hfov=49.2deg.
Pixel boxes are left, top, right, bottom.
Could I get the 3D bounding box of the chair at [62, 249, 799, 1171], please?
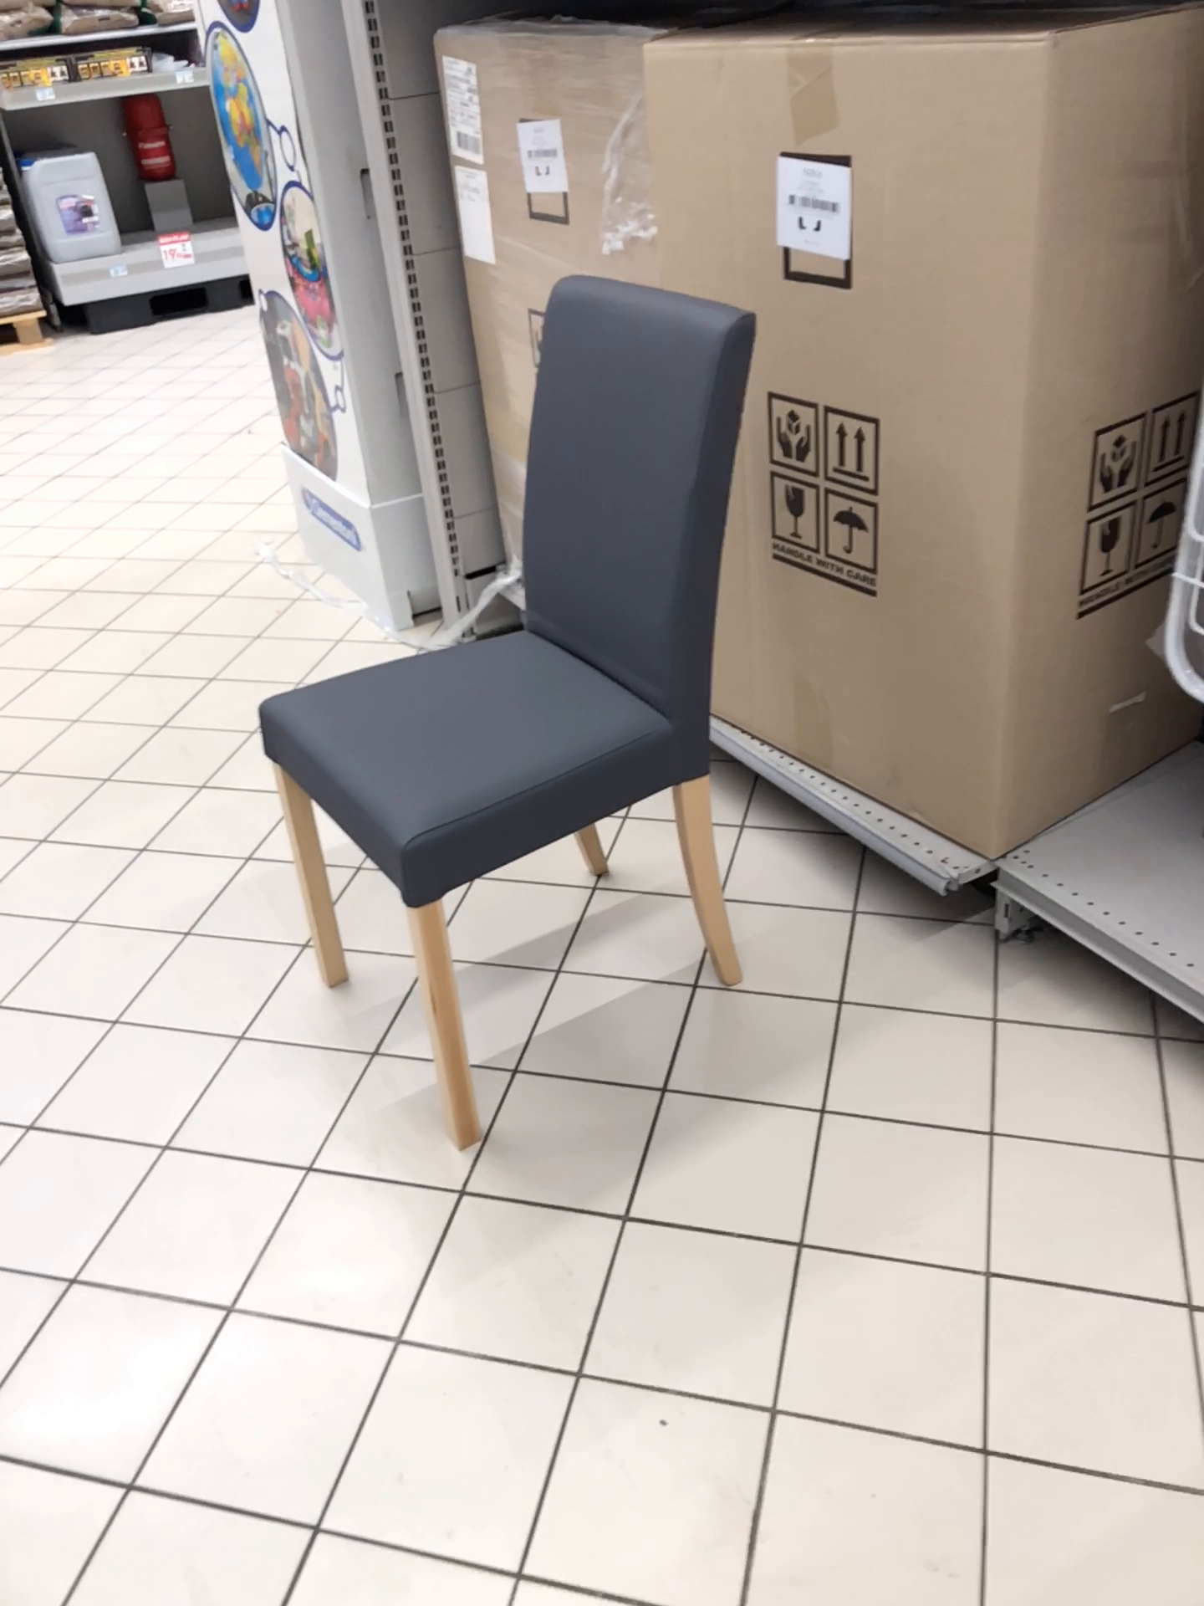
[{"bbox_3d":[-0.149,-0.141,1.548,0.572,0.825,0.471,-26,37,-29],"label":"chair"}]
